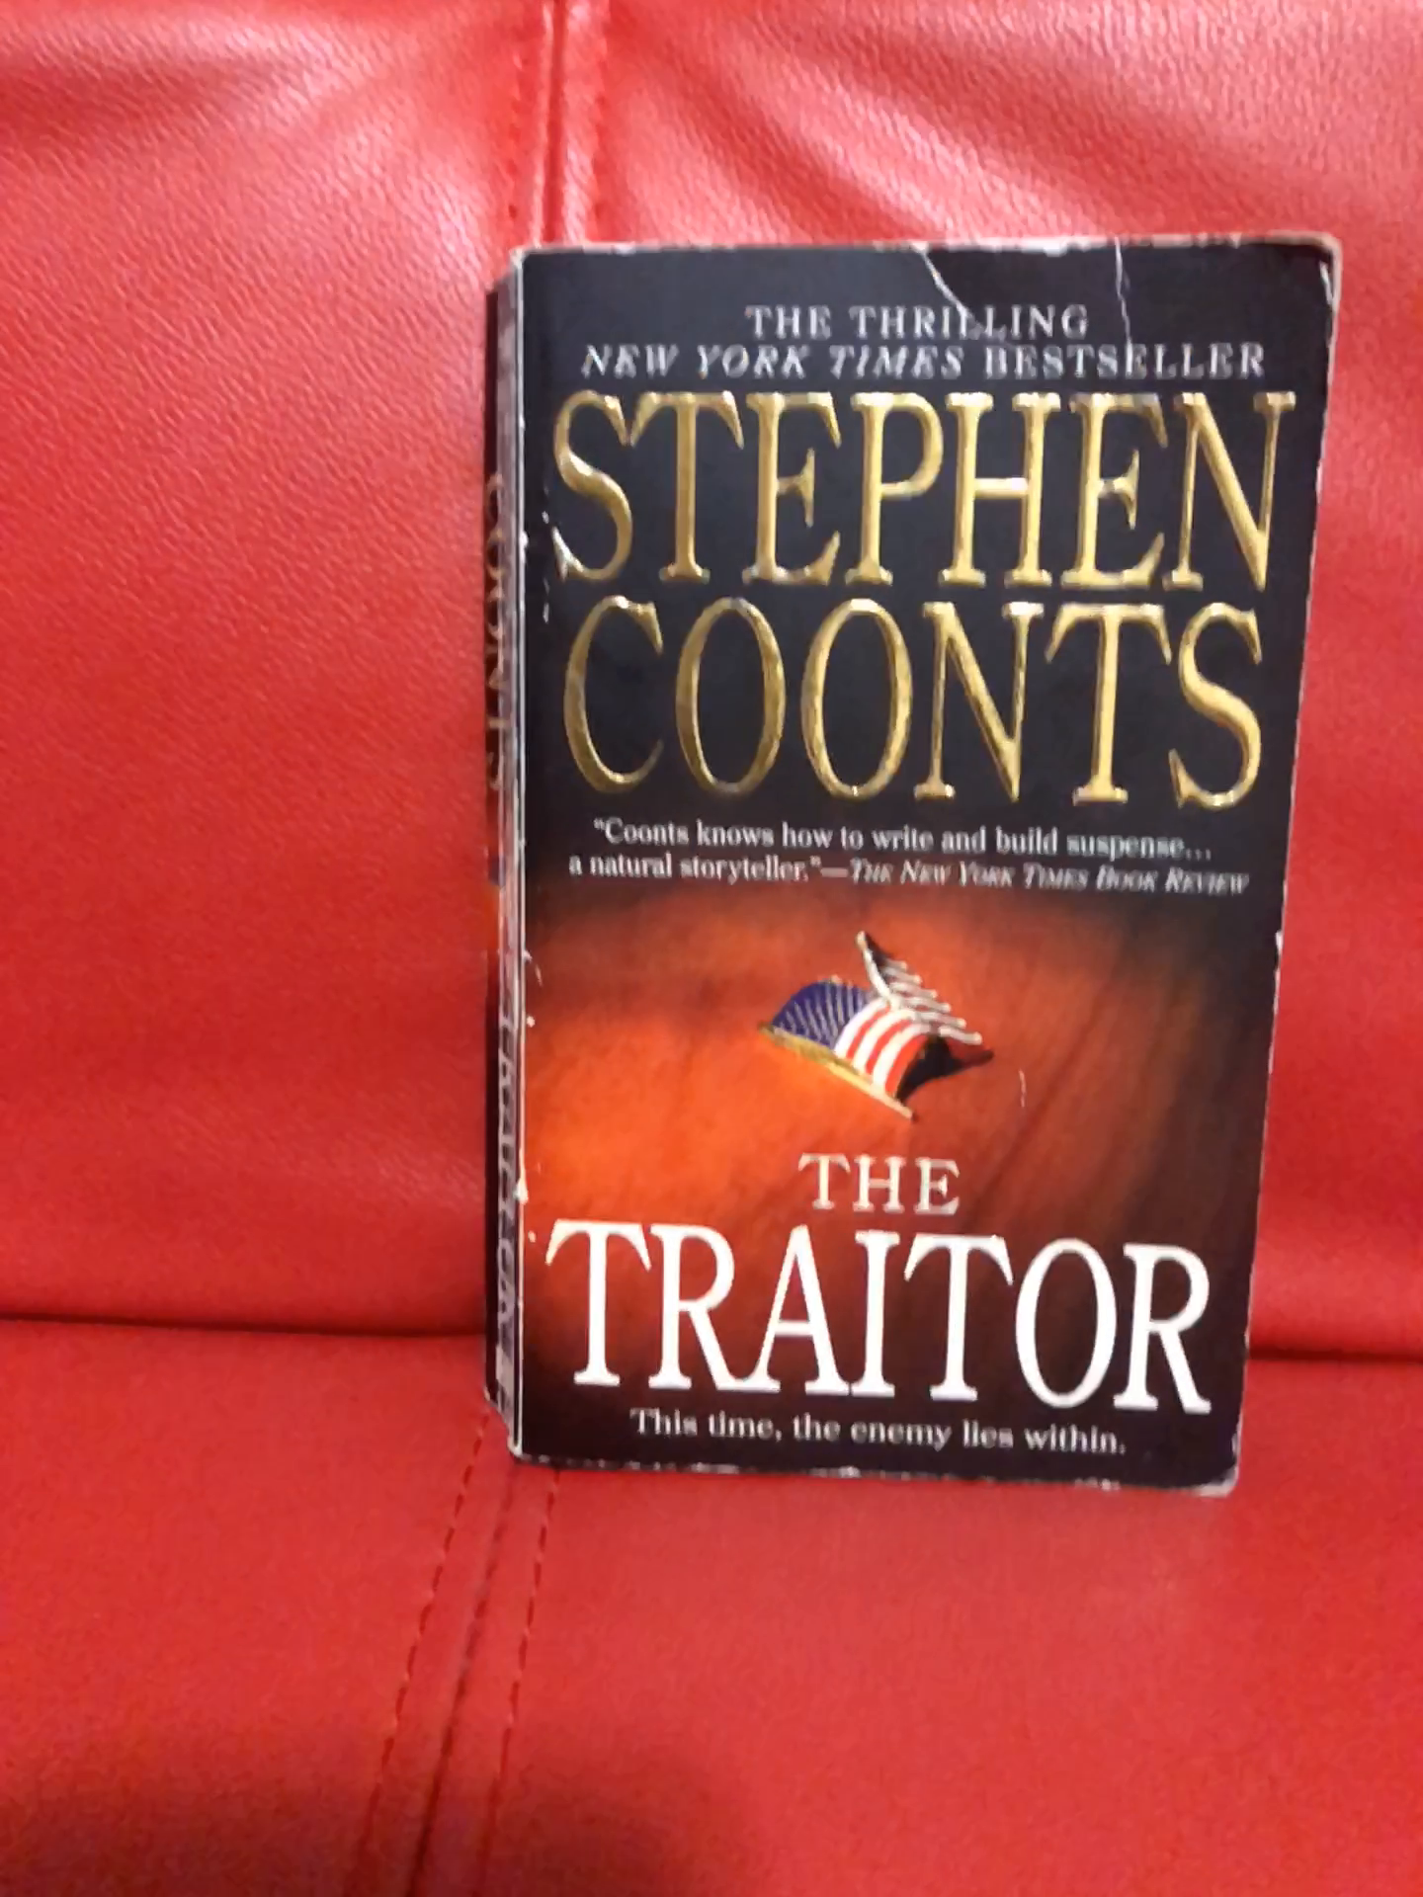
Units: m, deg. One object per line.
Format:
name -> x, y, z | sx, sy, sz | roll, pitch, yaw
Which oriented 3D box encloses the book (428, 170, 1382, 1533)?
book -> 0.023, -0.011, 0.235 | 0.120, 0.180, 0.040 | 2, 7, 1
